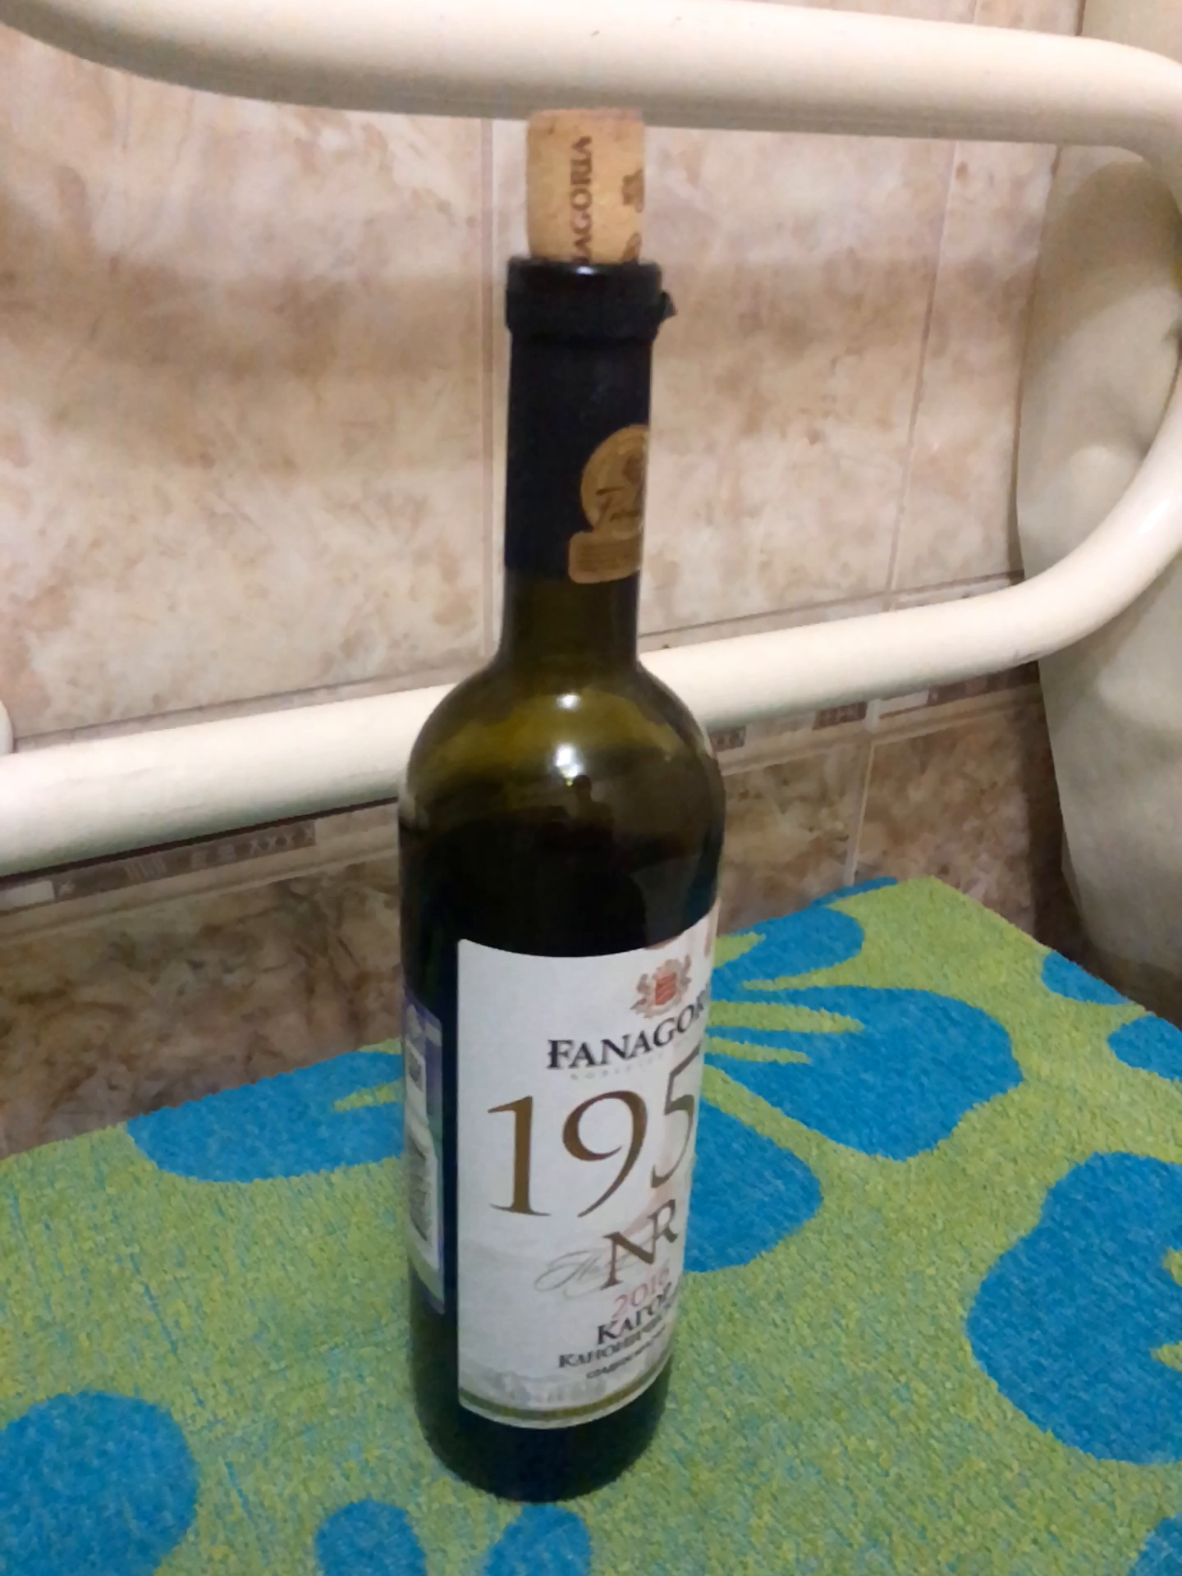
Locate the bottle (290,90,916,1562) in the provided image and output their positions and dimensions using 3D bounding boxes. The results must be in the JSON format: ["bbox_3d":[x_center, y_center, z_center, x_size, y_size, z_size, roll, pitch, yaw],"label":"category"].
[{"bbox_3d":[-0.008,0.024,0.296,0.080,0.318,0.080,2,27,-1],"label":"bottle"}]
